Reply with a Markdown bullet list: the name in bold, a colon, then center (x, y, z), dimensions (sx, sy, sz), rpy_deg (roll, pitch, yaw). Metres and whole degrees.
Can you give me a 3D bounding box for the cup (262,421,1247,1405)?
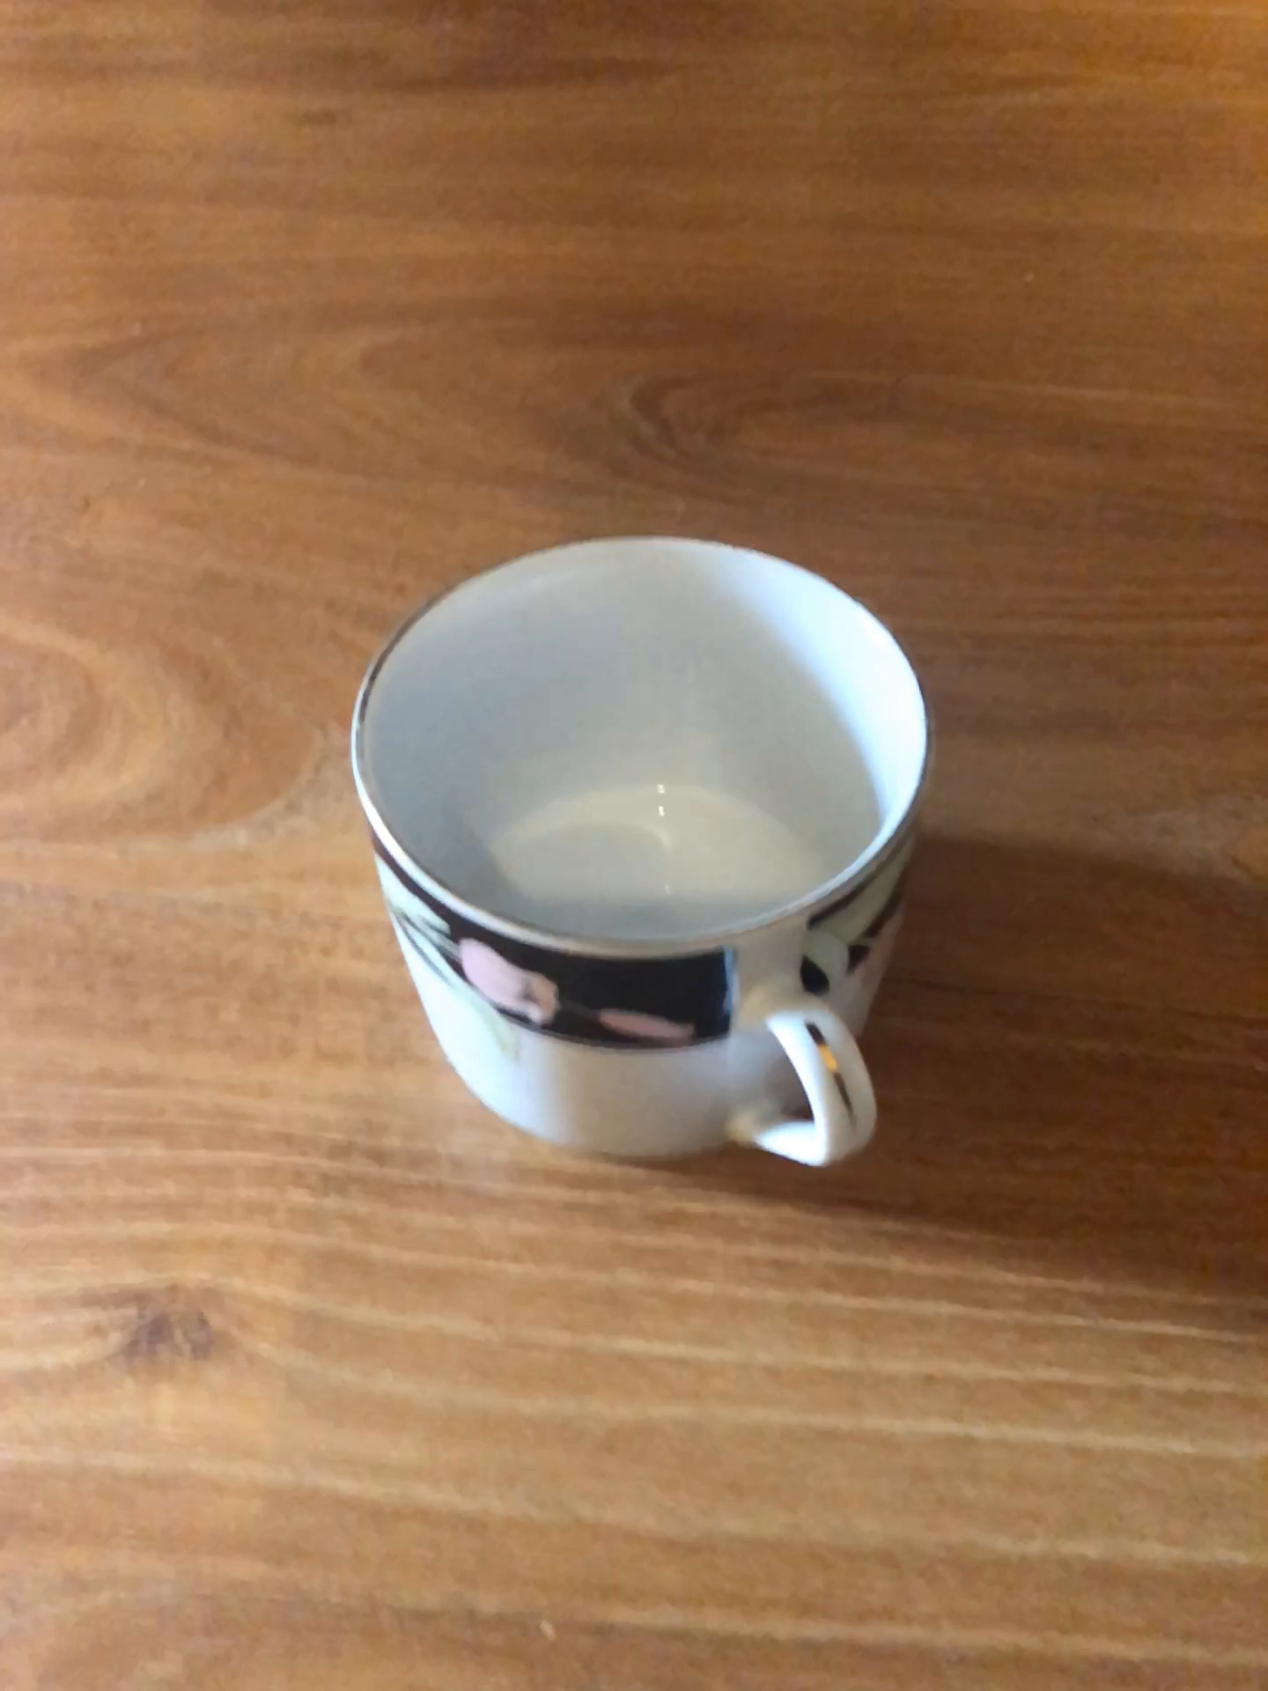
- **cup**: center (0.009, 0.003, 0.210), dimensions (0.090, 0.060, 0.111), rpy_deg (-20, 52, -14)
